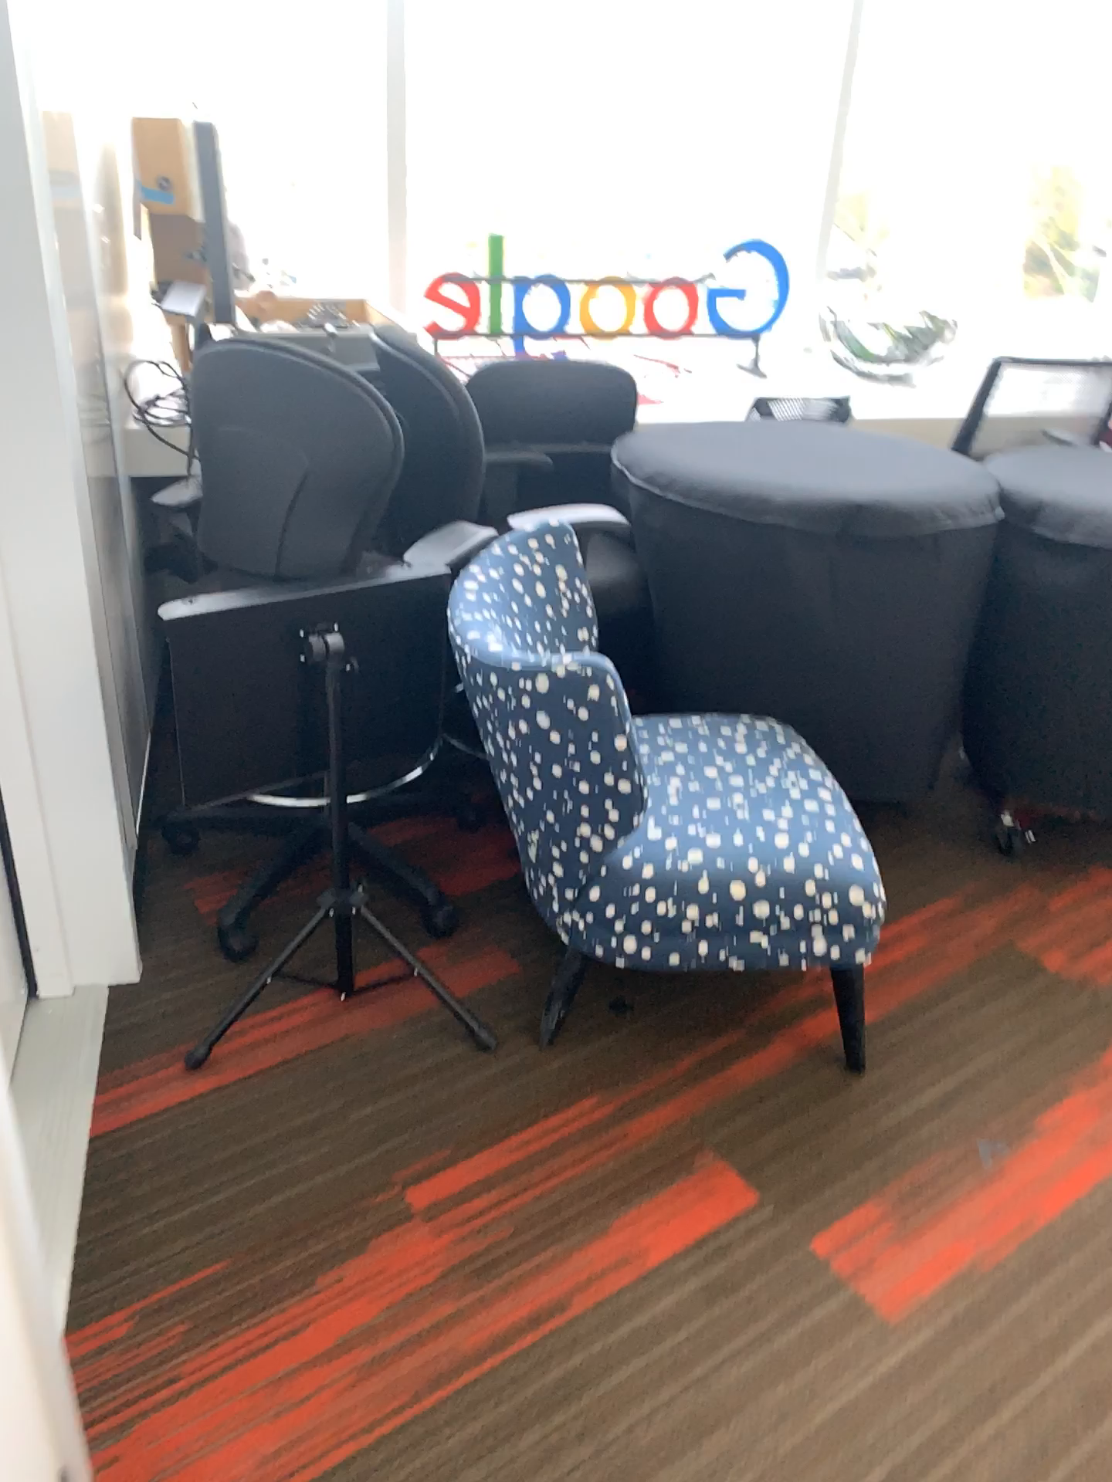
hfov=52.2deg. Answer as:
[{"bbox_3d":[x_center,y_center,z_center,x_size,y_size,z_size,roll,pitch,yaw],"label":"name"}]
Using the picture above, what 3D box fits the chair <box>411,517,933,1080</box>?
[{"bbox_3d":[0.135,0.047,2.268,0.770,0.686,1.006,2,27,-4],"label":"chair"}]
